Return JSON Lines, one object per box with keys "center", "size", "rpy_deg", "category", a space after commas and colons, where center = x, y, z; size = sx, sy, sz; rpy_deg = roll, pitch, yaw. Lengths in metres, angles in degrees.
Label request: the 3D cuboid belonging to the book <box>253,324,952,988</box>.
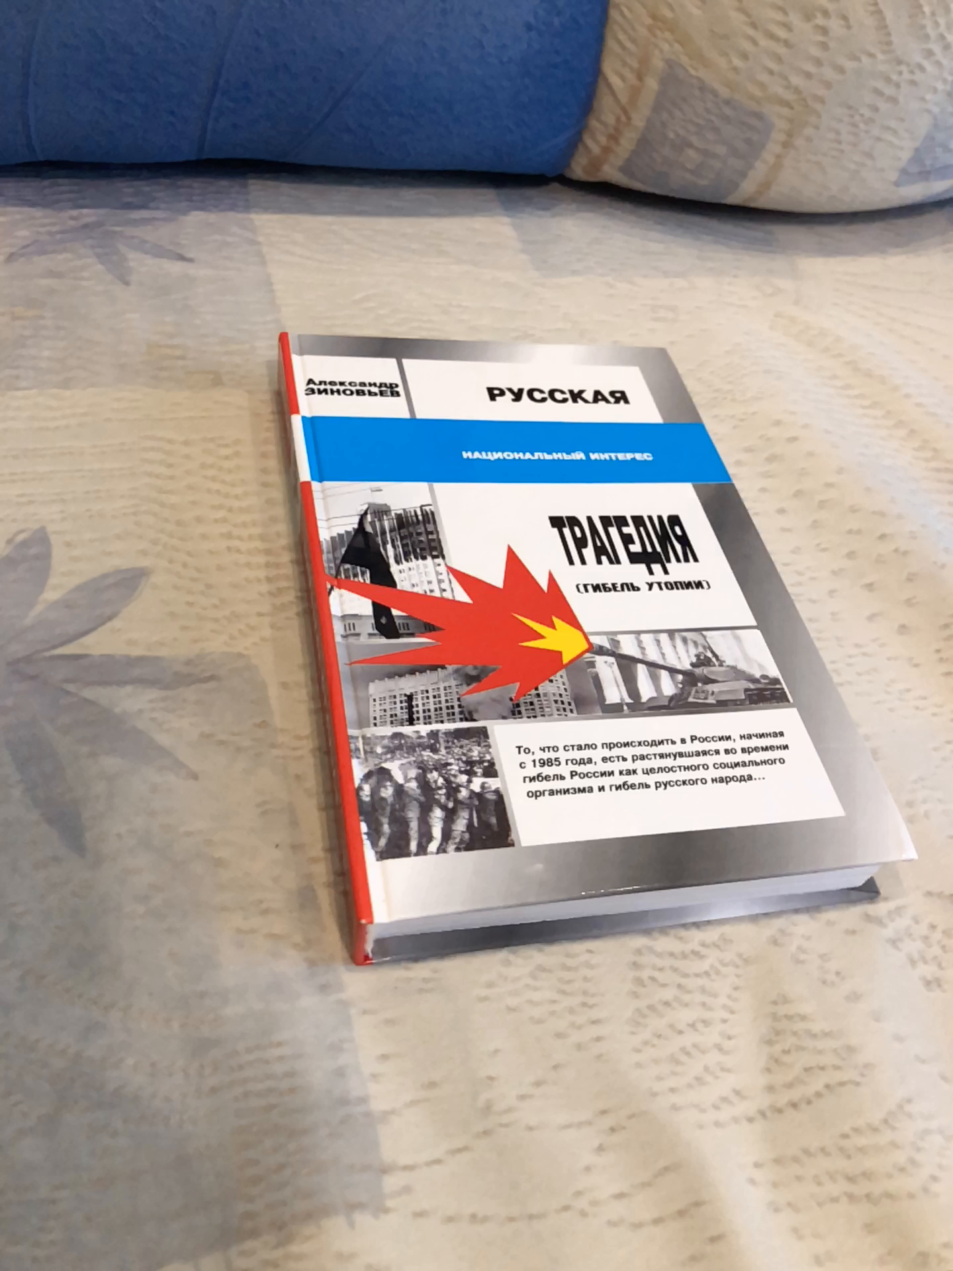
{"center": [0.022, -0.014, 0.307], "size": [0.160, 0.040, 0.201], "rpy_deg": [-3, 51, -13], "category": "book"}
